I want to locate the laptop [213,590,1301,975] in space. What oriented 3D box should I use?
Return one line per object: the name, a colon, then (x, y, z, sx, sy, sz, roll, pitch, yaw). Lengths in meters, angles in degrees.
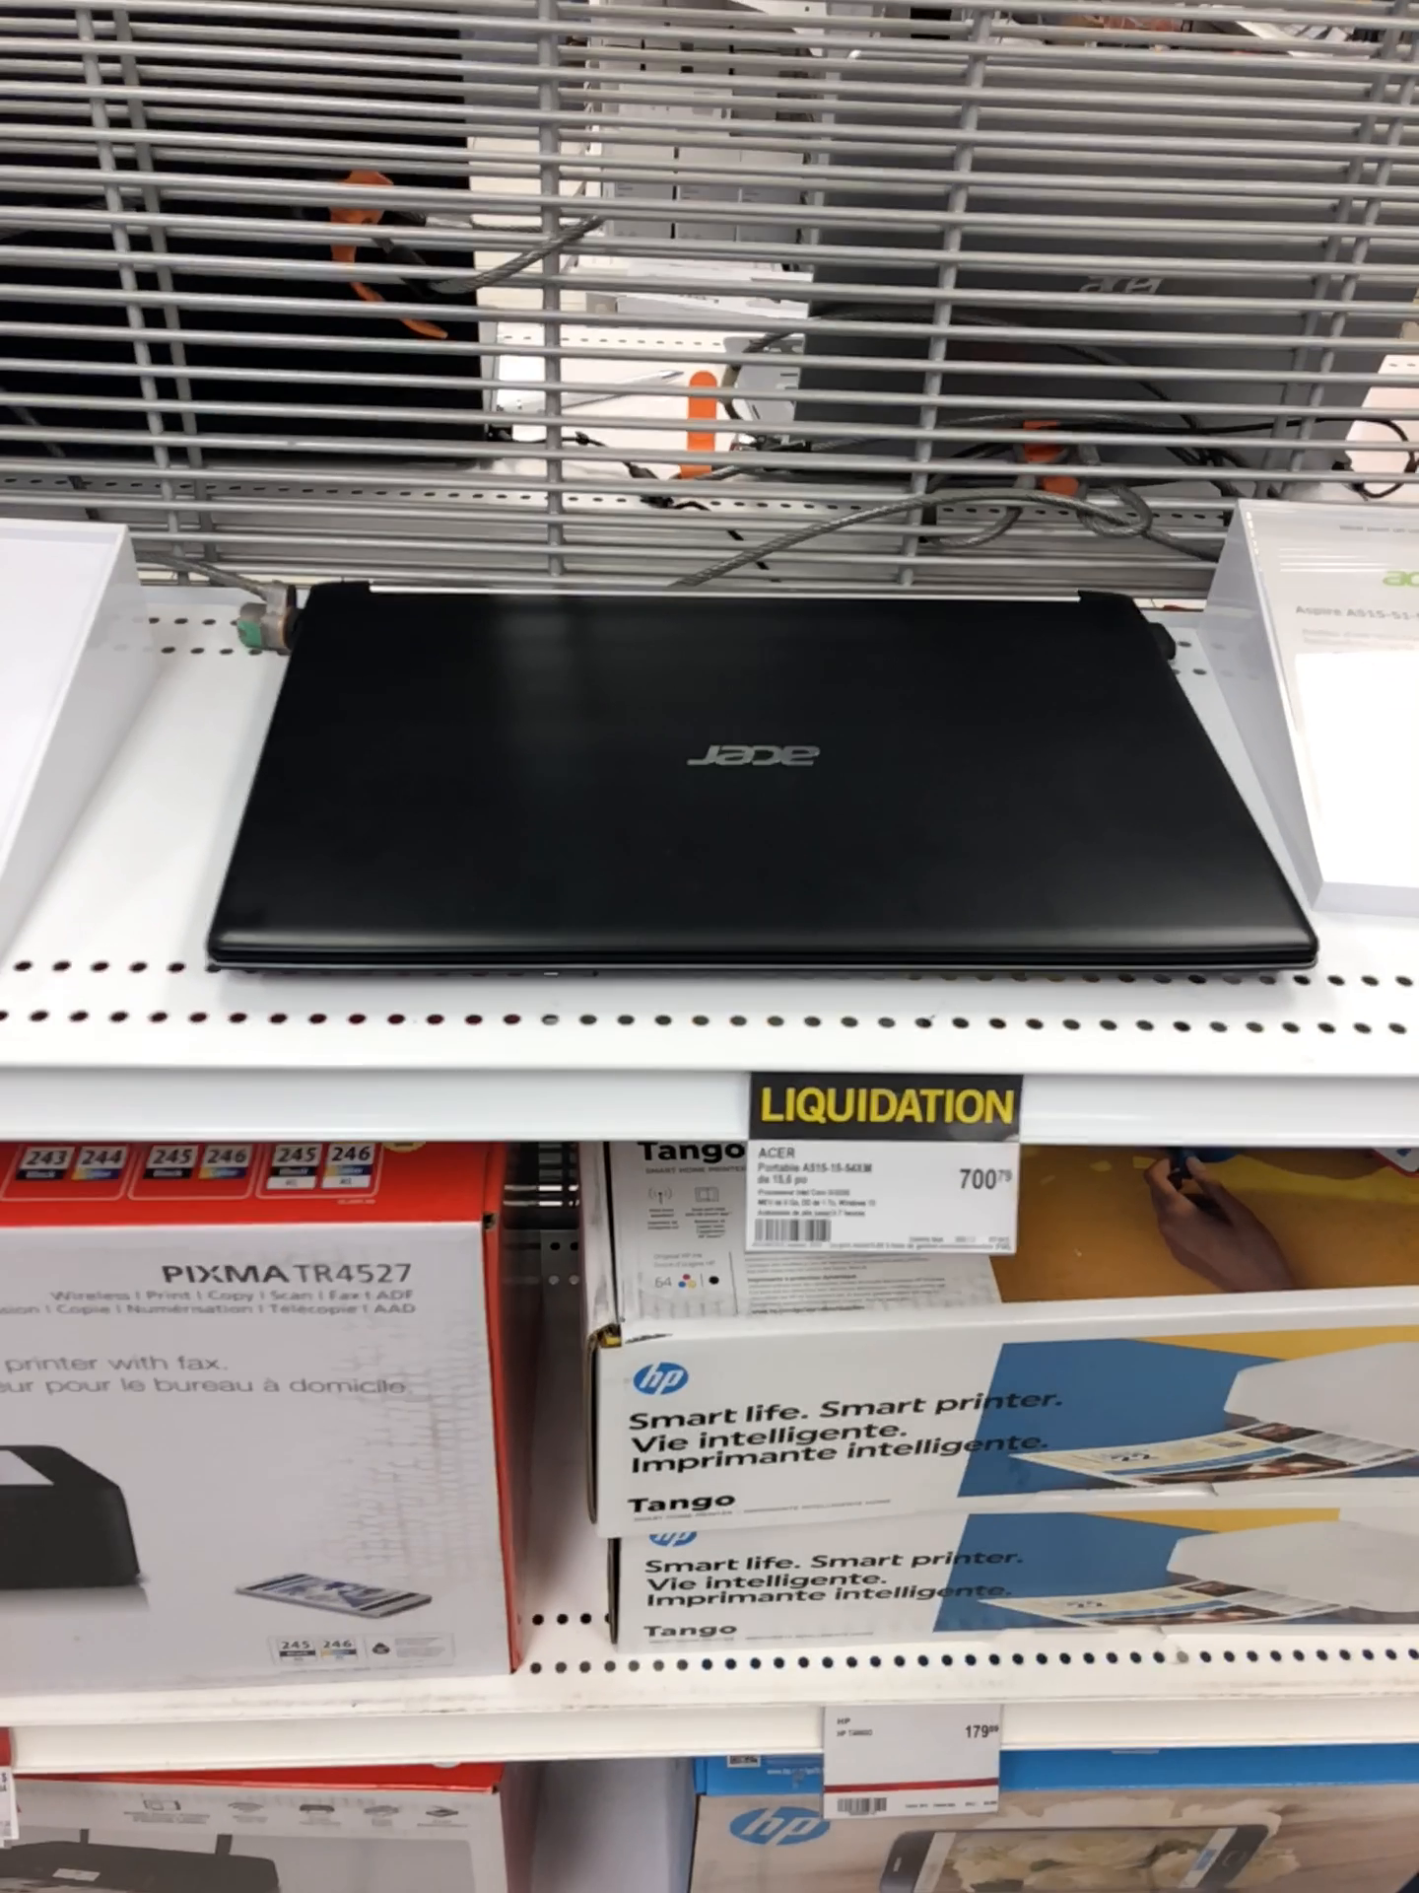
laptop: (0.017, -0.073, 0.599, 0.361, 0.012, 0.228, 0, 42, -5)
